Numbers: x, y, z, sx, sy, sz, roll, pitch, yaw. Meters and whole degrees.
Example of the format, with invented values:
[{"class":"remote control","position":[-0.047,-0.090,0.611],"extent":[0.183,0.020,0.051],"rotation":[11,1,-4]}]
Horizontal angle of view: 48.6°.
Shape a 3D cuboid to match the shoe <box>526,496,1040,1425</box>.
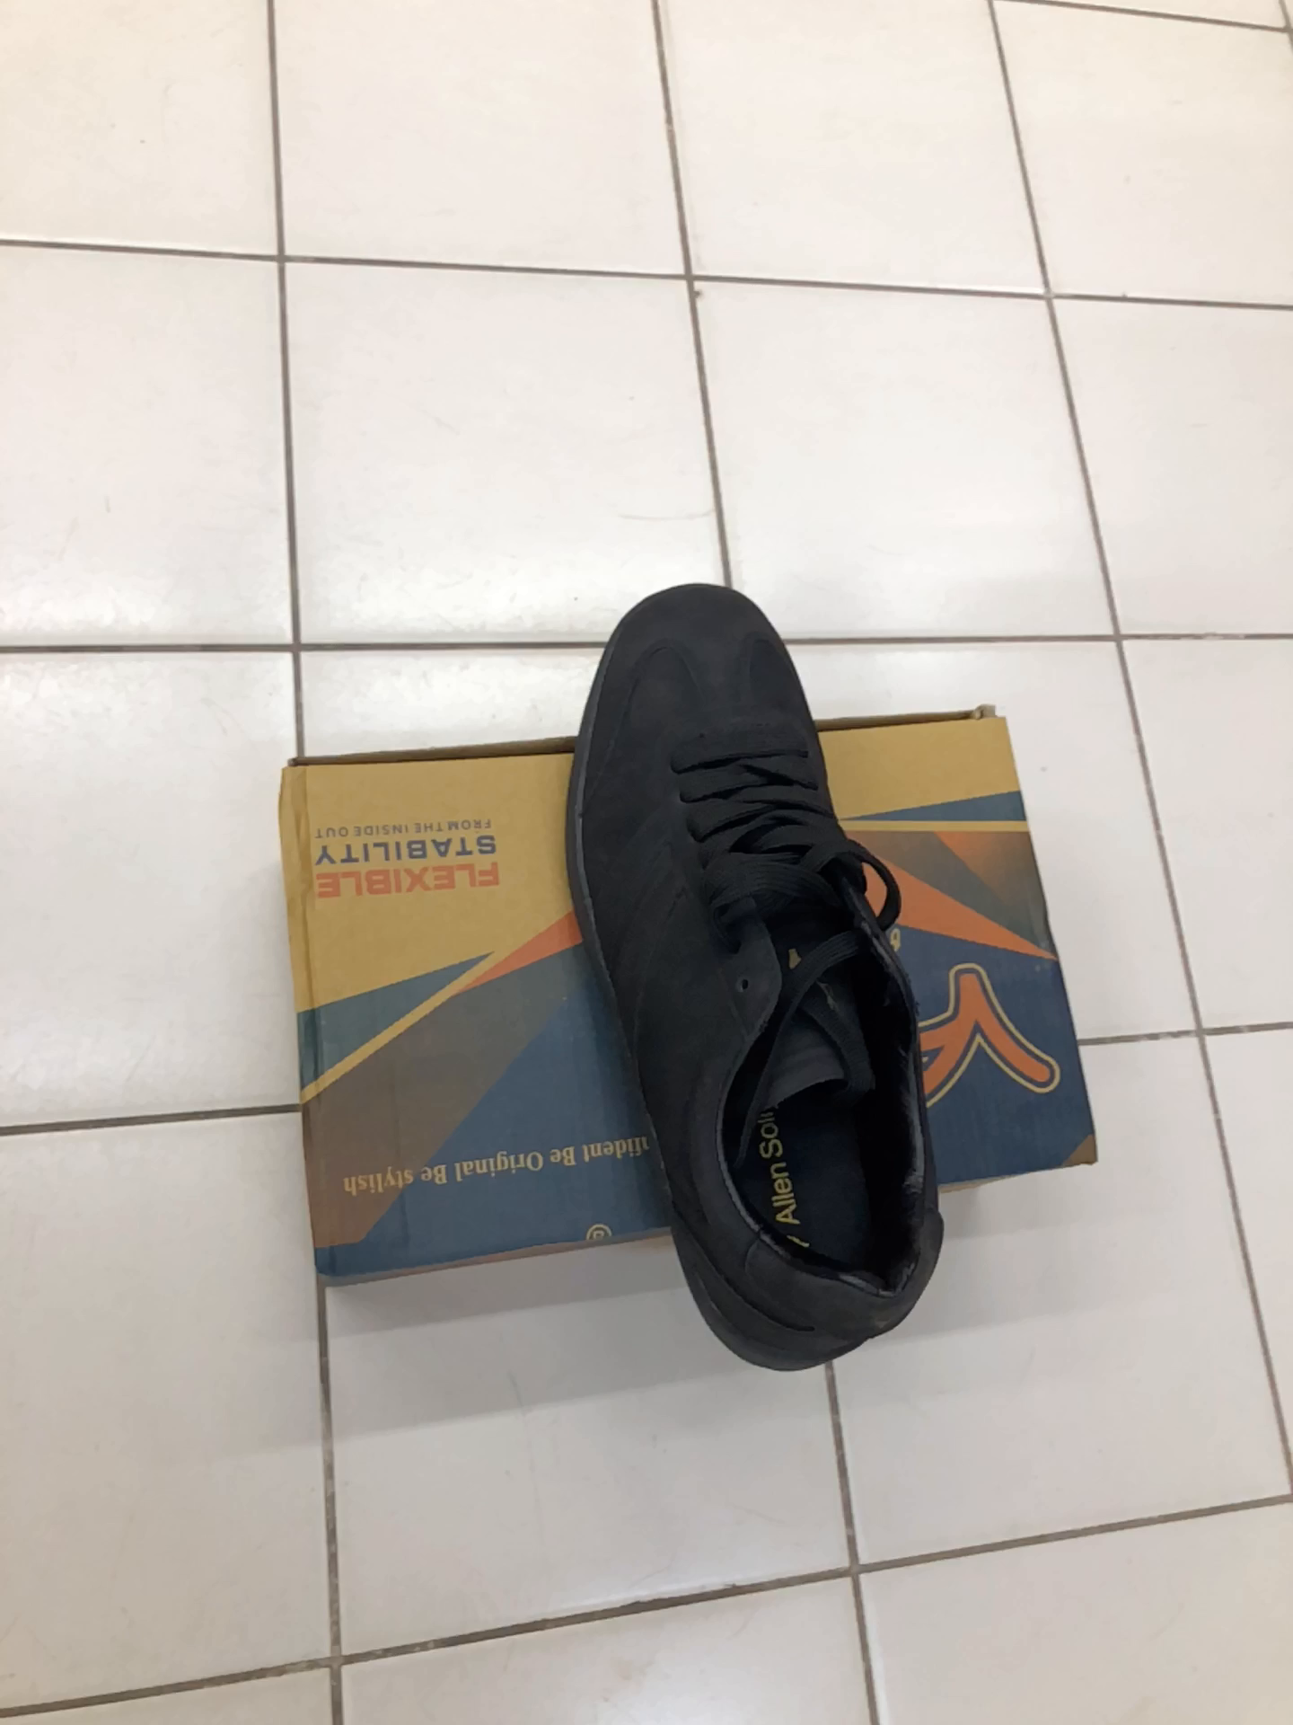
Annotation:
[{"class":"shoe","position":[0.032,0.025,0.445],"extent":[0.090,0.080,0.260],"rotation":[-7,75,-14]}]
